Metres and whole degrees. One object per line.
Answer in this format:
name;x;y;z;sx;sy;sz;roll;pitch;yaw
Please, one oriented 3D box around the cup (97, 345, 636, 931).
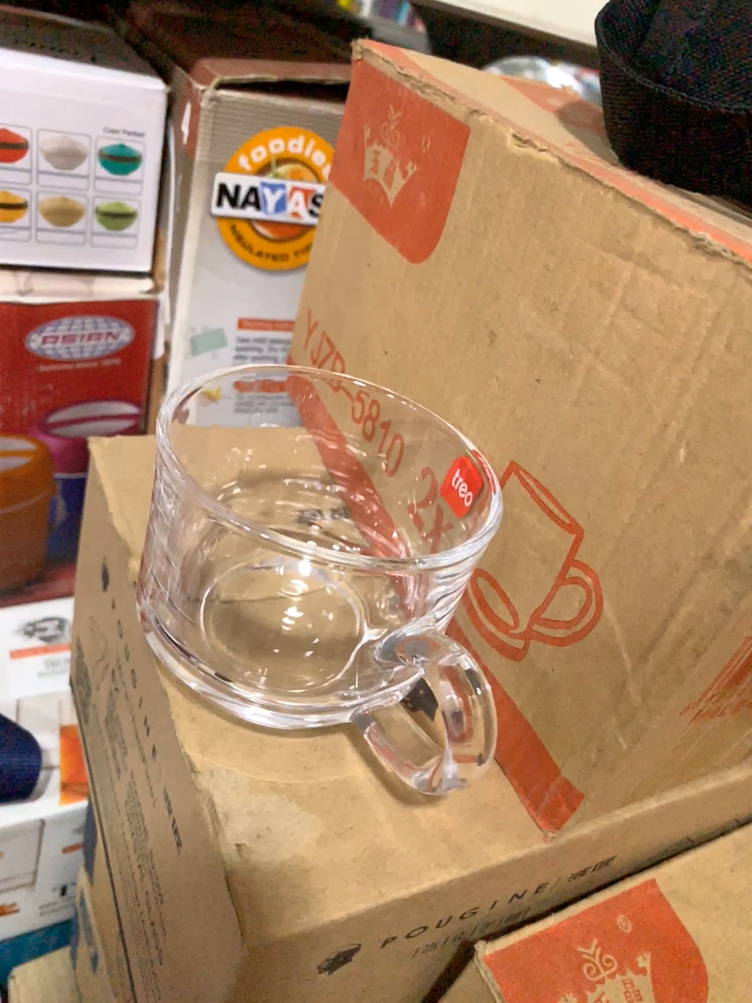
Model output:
cup;-0.014;0.018;0.178;0.072;0.061;0.105;-4;40;-30
